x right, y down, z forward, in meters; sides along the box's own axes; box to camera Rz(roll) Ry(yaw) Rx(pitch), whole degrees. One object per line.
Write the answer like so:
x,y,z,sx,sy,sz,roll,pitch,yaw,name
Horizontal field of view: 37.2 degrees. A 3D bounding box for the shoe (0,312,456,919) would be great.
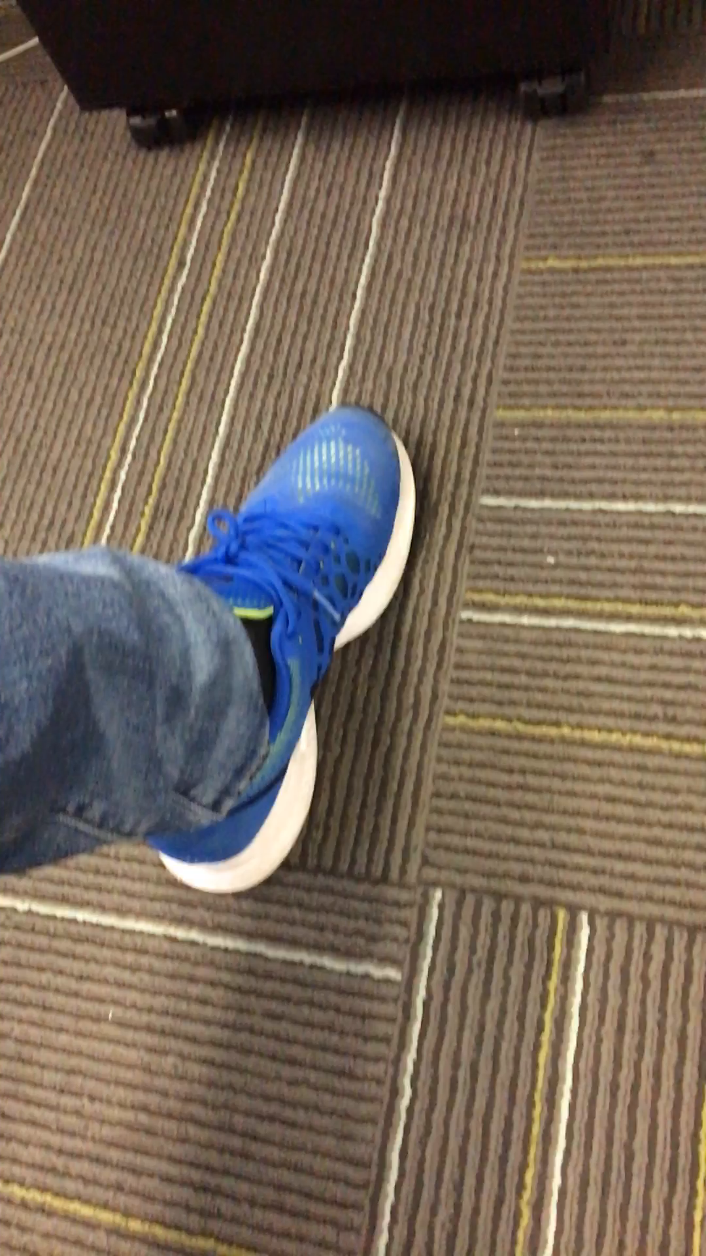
-0.052,-0.014,0.564,0.120,0.110,0.290,12,68,20,shoe
